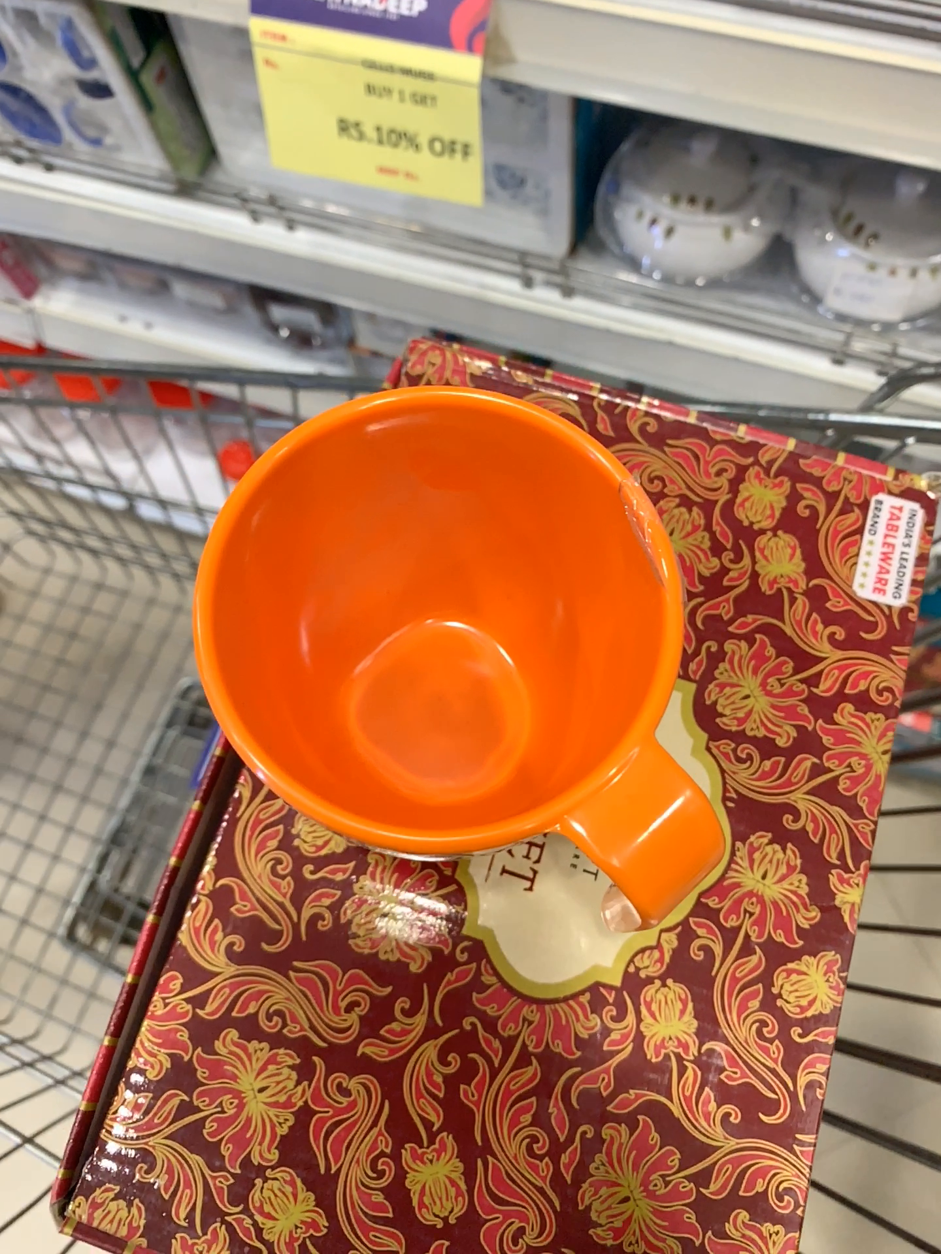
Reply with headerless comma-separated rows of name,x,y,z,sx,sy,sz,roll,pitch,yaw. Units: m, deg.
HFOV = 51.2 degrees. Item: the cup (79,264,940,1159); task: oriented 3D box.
cup,0.009,0.013,0.177,0.110,0.070,0.080,41,78,12
